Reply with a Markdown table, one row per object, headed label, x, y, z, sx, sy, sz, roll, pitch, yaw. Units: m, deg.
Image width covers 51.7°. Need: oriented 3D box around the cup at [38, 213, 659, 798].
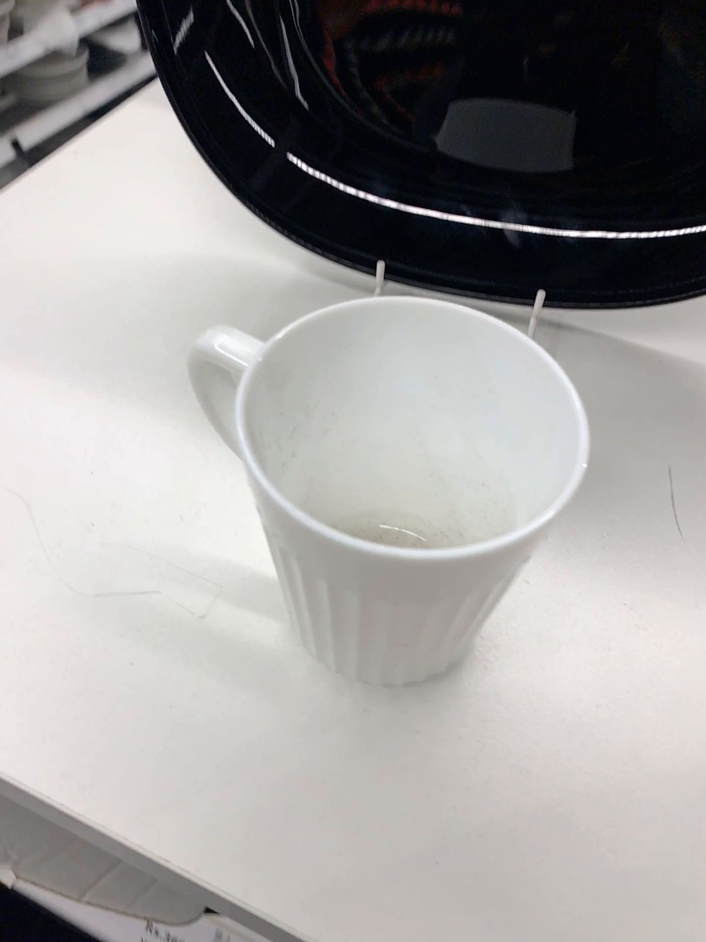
| label | x | y | z | sx | sy | sz | roll | pitch | yaw |
| --- | --- | --- | --- | --- | --- | --- | --- | --- | --- |
| cup | 0.001 | 0.005 | 0.195 | 0.110 | 0.080 | 0.090 | 26 | 53 | 16 |
